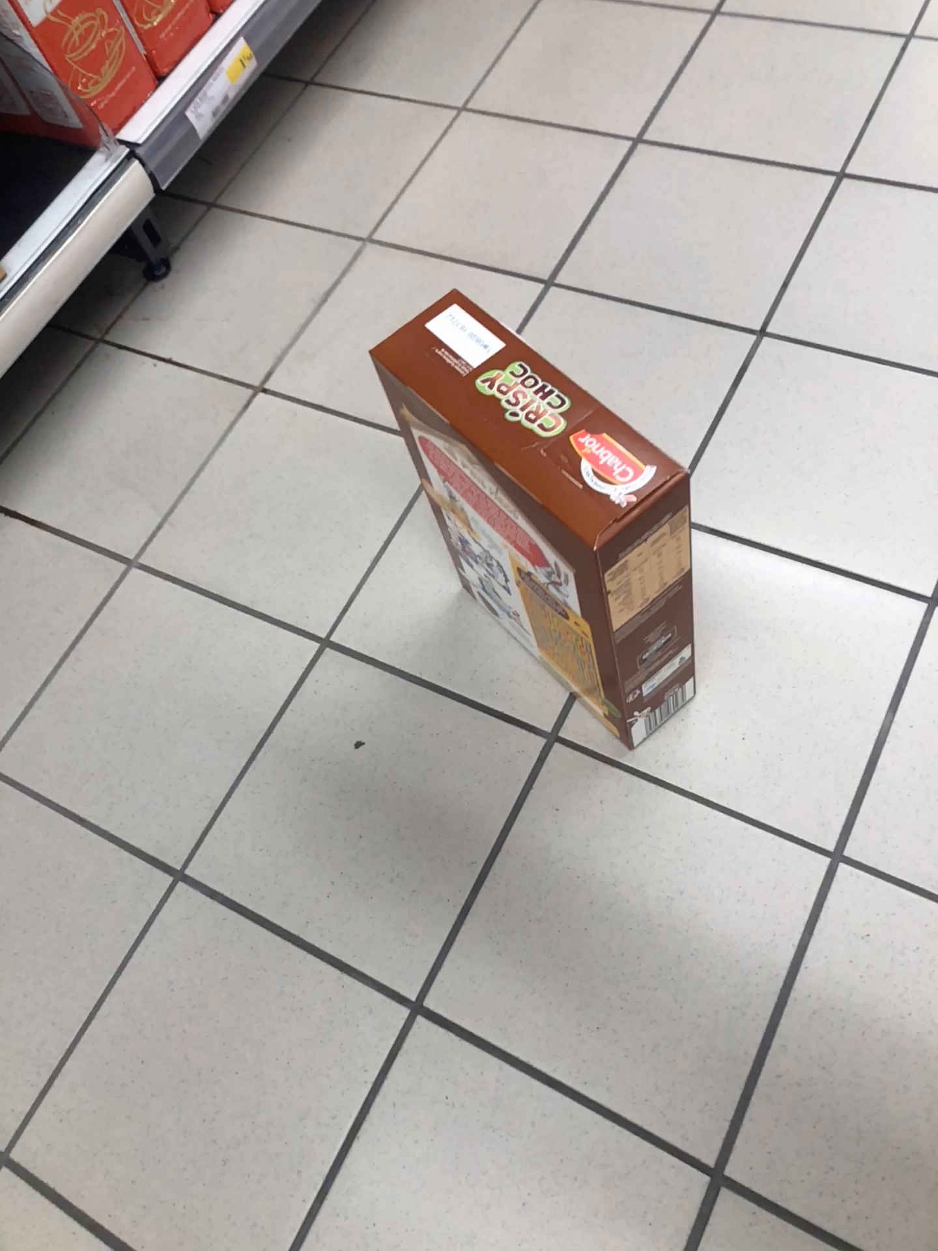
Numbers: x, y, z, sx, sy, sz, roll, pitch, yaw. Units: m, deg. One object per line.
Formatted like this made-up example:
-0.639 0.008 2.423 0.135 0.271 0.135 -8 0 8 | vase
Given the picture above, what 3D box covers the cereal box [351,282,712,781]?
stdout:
0.051 -0.045 0.648 0.070 0.269 0.210 -39 60 -10 | cereal box
